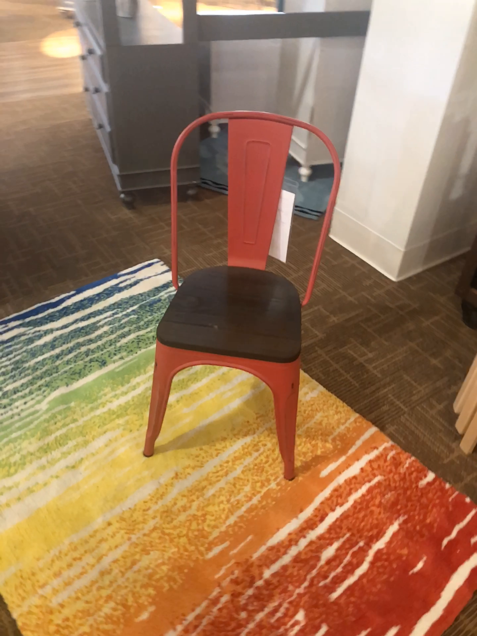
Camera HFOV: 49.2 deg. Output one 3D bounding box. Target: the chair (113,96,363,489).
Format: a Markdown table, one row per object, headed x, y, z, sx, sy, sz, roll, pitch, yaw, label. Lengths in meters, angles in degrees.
| x | y | z | sx | sy | sz | roll | pitch | yaw | label |
| --- | --- | --- | --- | --- | --- | --- | --- | --- | --- |
| 0.014 | -0.048 | 1.377 | 0.450 | 0.855 | 0.493 | 9 | 39 | 6 | chair |
